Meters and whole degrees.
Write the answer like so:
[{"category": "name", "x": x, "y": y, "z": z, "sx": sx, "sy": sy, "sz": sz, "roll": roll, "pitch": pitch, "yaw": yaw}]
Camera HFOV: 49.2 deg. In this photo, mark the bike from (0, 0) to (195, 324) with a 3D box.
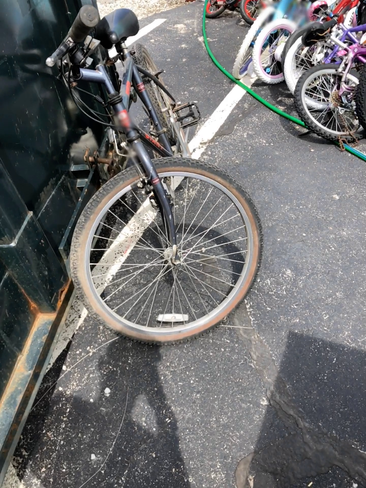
[{"category": "bike", "x": -0.439, "y": -0.451, "z": 1.463, "sx": 0.634, "sy": 0.832, "sz": 1.105, "roll": 5, "pitch": 44, "yaw": 10}]
